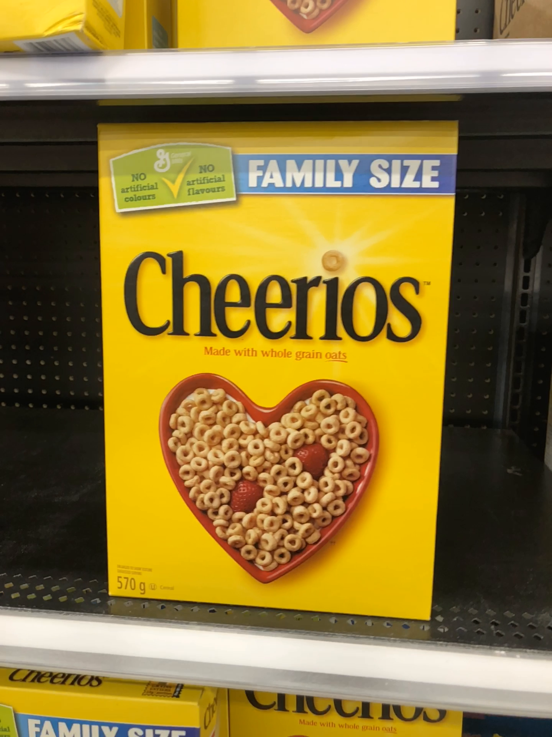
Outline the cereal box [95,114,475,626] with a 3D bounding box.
[{"bbox_3d":[0.002,0.000,0.455,0.240,0.339,0.090,3,10,5],"label":"cereal box"}]
